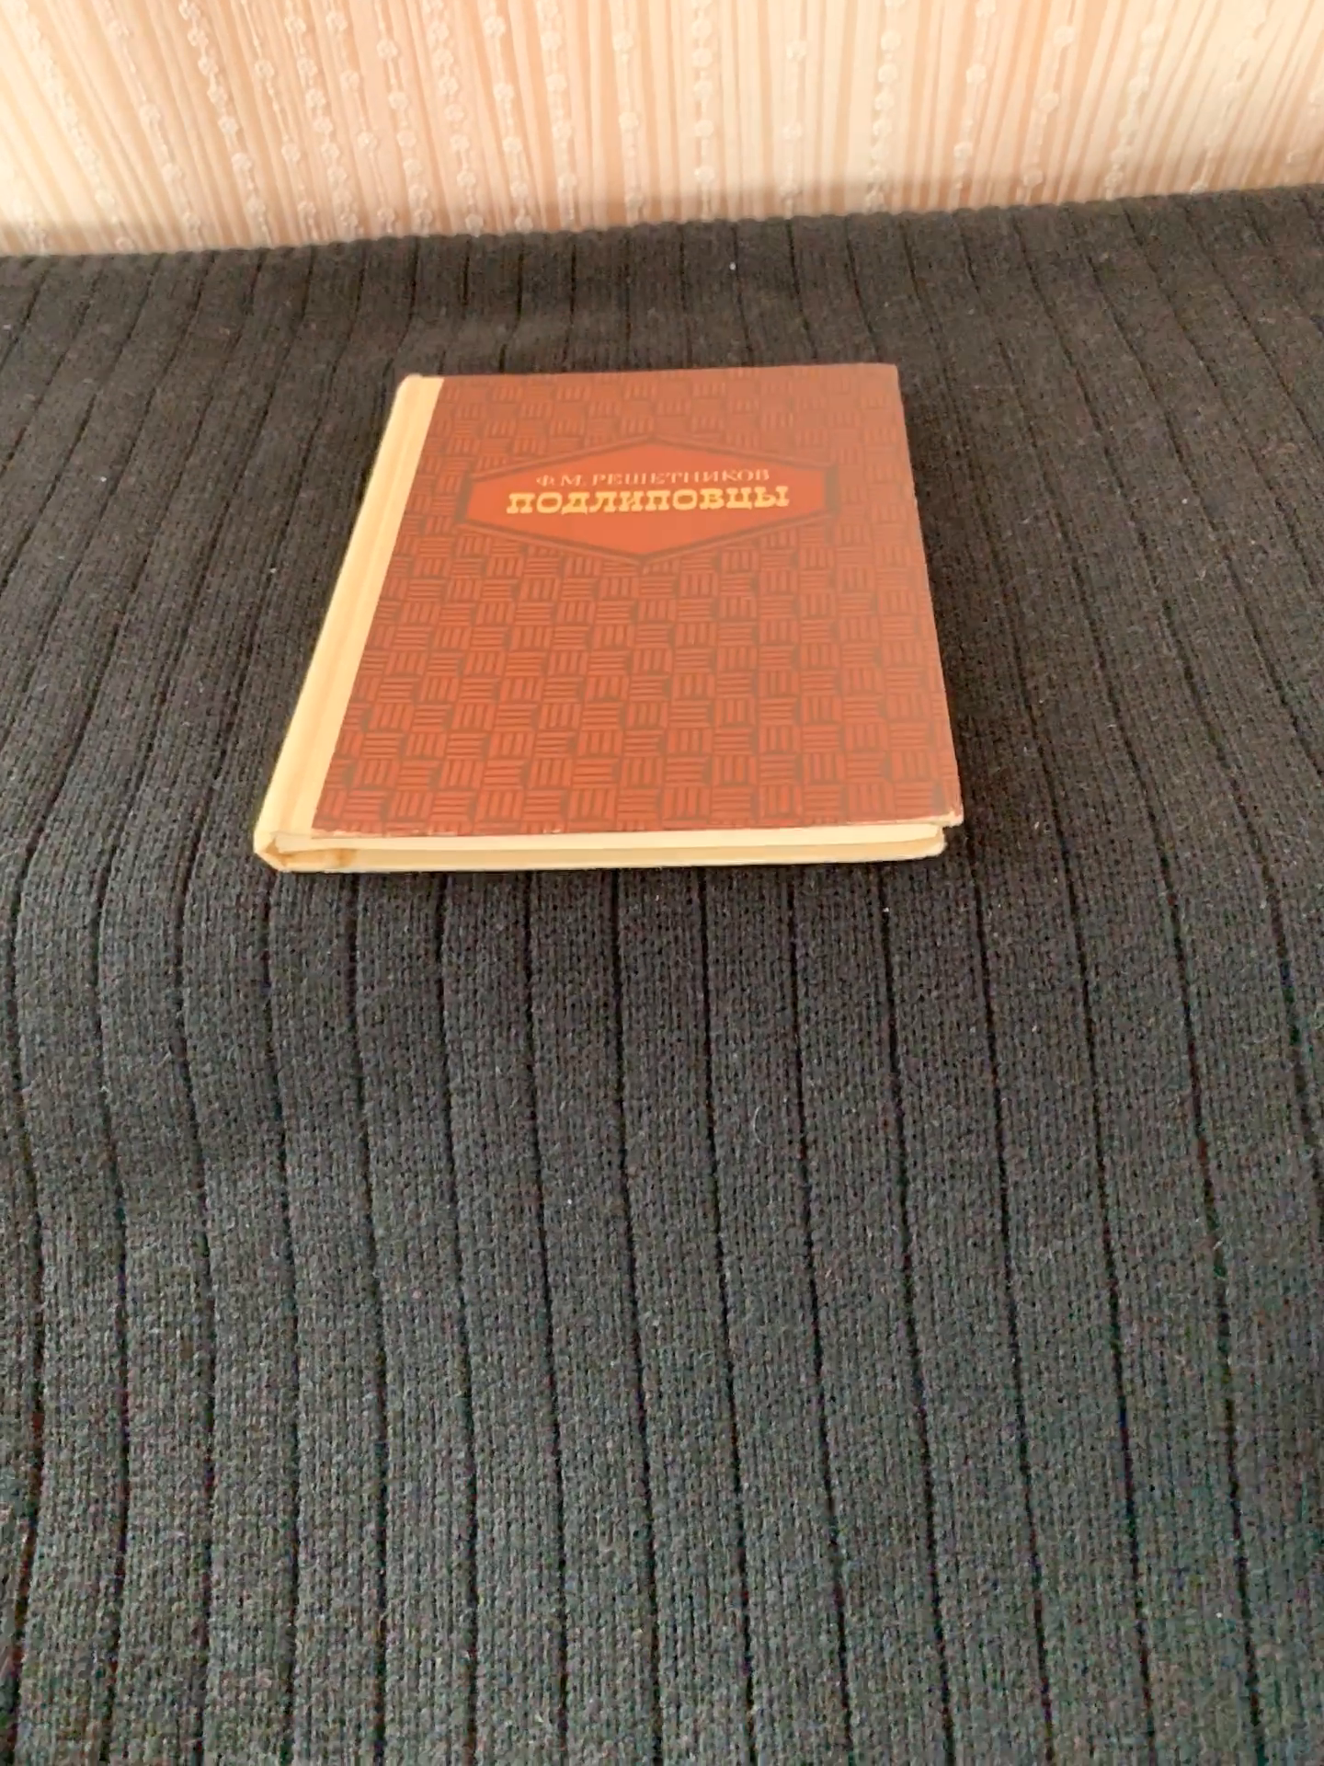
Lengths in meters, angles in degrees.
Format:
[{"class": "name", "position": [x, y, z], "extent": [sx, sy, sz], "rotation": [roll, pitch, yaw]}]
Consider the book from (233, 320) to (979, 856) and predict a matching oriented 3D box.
[{"class": "book", "position": [-0.008, -0.076, 0.304], "extent": [0.129, 0.015, 0.178], "rotation": [-1, 47, 3]}]
